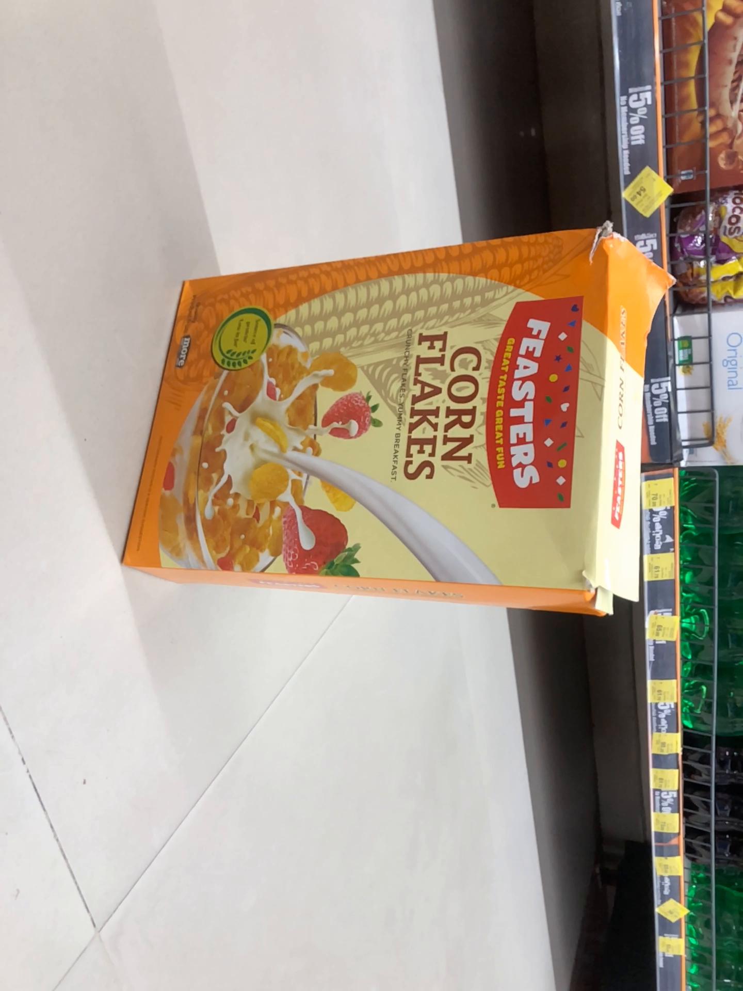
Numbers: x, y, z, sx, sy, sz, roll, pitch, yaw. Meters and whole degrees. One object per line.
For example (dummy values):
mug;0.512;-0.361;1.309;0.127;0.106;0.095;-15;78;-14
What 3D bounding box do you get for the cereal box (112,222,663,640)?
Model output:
cereal box;0.011;-0.031;0.438;0.060;0.268;0.190;44;50;-62
